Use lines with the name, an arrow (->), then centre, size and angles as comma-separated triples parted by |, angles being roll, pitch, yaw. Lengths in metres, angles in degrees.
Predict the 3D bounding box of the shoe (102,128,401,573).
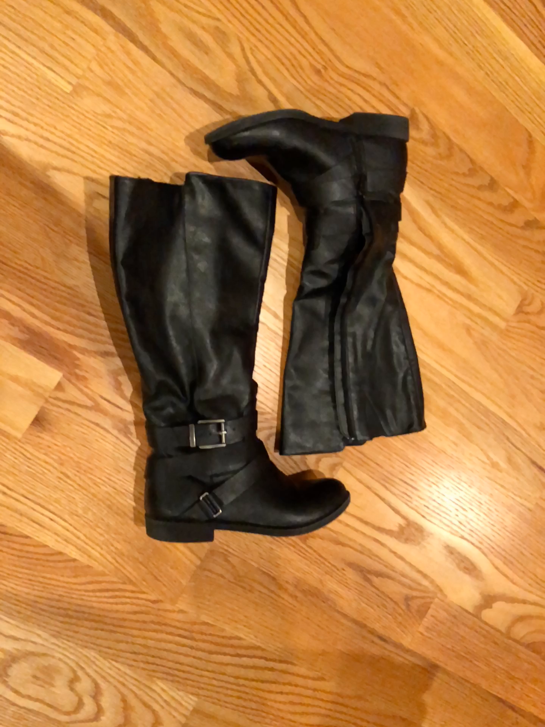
shoe -> -0.028, -0.010, 0.637 | 0.291, 0.104, 0.403 | 0, 96, -19

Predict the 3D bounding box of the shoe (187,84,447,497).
shoe -> 0.045, -0.067, 0.657 | 0.250, 0.094, 0.393 | 1, 94, -19
